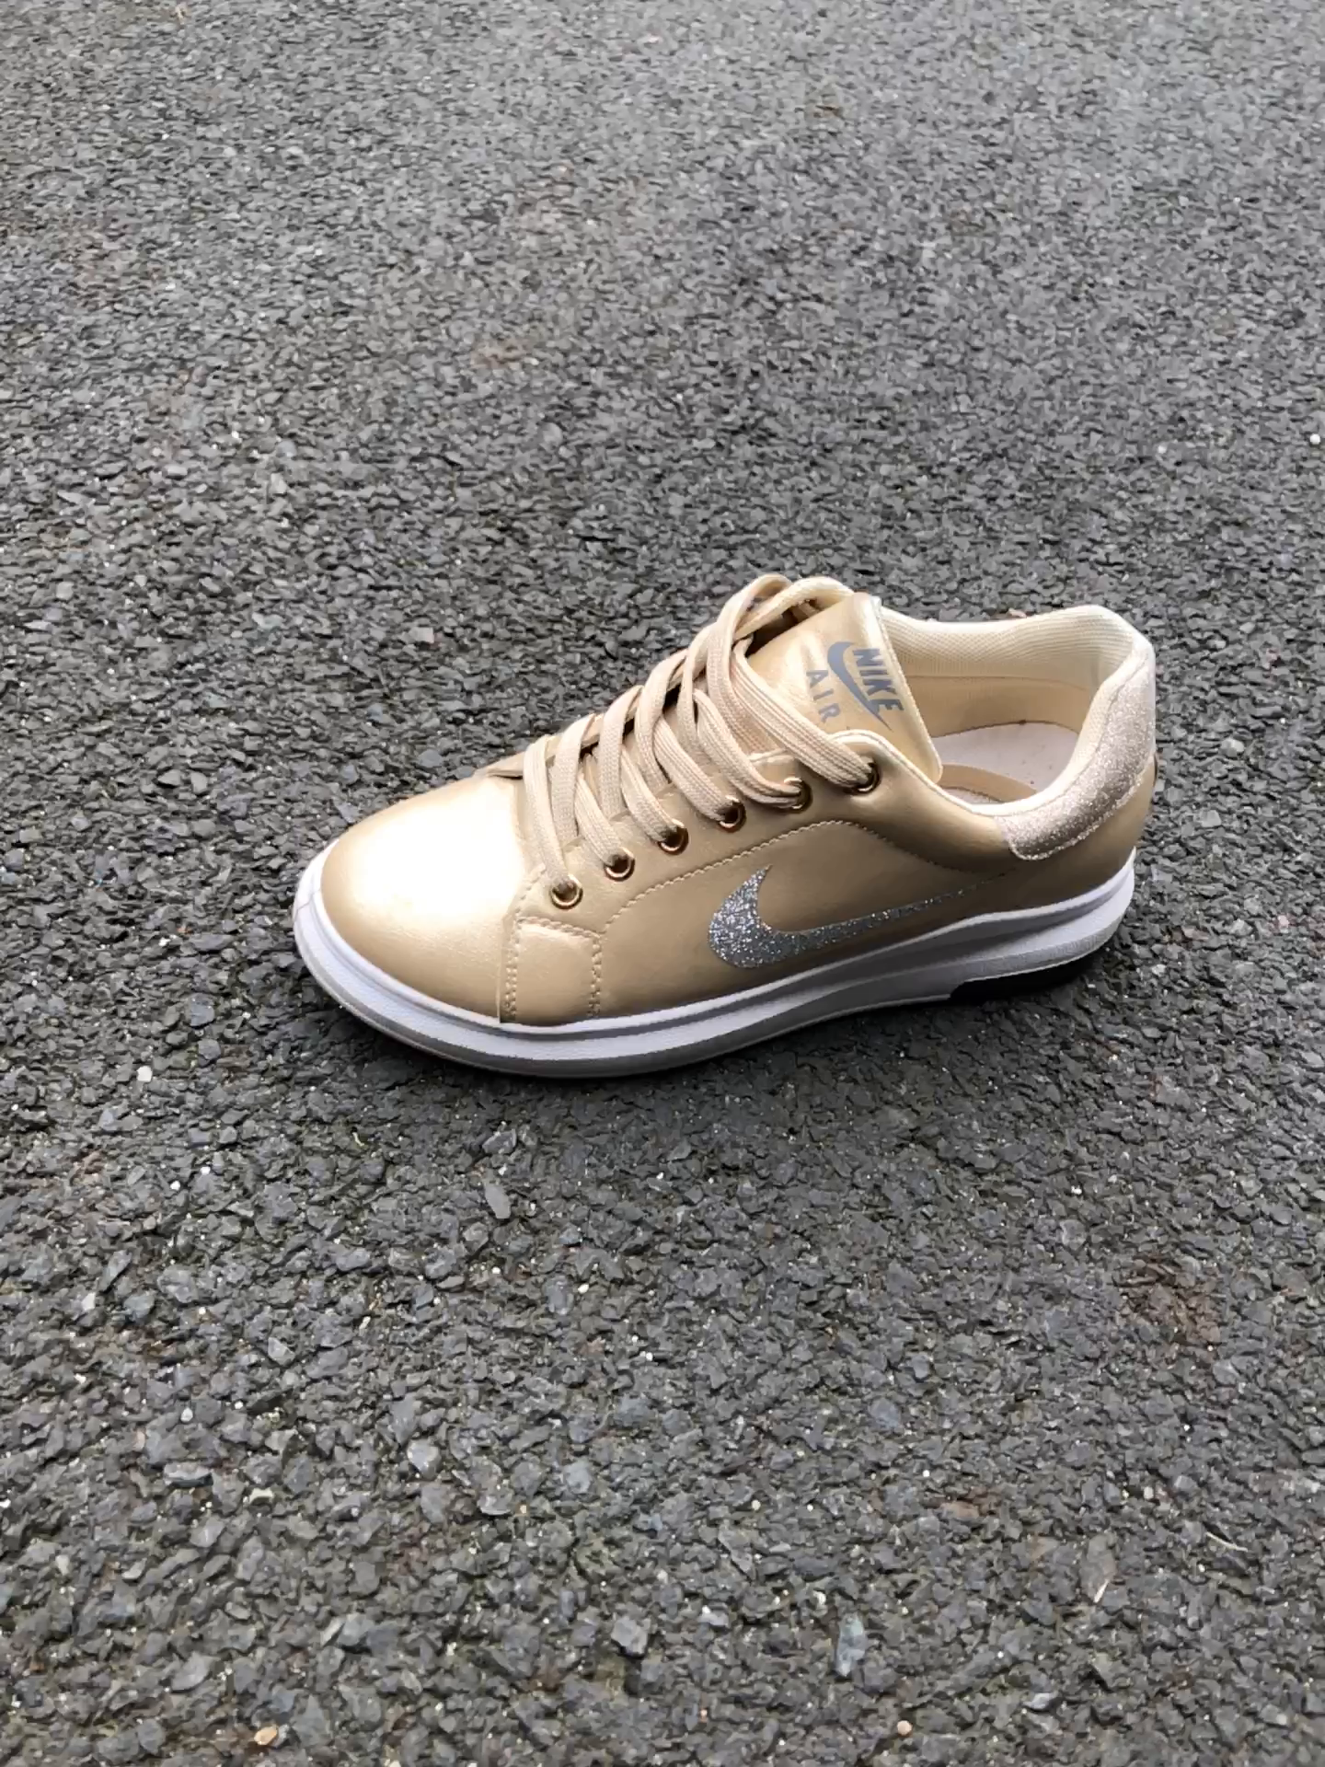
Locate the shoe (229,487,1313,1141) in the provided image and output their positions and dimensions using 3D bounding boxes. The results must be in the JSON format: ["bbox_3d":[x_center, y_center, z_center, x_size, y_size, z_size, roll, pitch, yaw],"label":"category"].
[{"bbox_3d":[0.022,-0.025,0.416,0.260,0.099,0.117,-8,52,-13],"label":"shoe"}]
